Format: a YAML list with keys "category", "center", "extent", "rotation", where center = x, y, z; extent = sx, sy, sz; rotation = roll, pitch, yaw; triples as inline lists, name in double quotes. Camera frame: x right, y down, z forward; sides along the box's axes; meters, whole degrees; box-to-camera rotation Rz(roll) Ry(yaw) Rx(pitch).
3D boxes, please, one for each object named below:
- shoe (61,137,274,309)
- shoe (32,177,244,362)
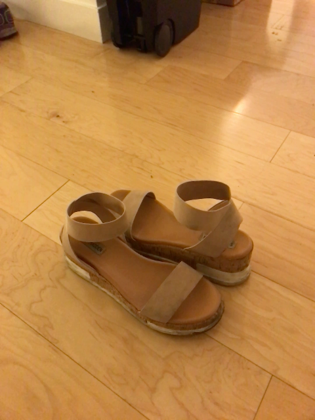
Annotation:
- category: "shoe"
  center: [0.009, 0.012, 0.535]
  extent: [0.290, 0.139, 0.101]
  rotation: [24, 54, 22]
- category: "shoe"
  center: [-0.027, 0.077, 0.477]
  extent: [0.250, 0.139, 0.101]
  rotation: [24, 54, 21]
